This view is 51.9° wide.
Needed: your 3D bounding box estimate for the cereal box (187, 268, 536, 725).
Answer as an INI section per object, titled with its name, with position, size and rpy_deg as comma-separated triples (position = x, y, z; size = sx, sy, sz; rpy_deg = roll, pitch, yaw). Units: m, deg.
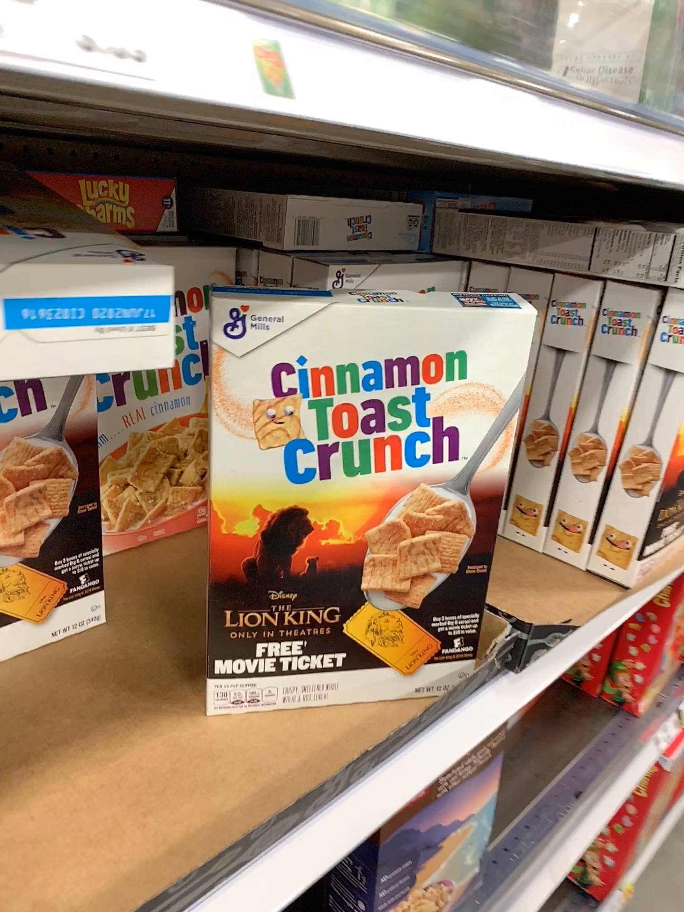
[cereal box]
position = -0.001, 0.031, 0.451
size = 0.190, 0.279, 0.060
rpy_deg = -1, 22, -13
